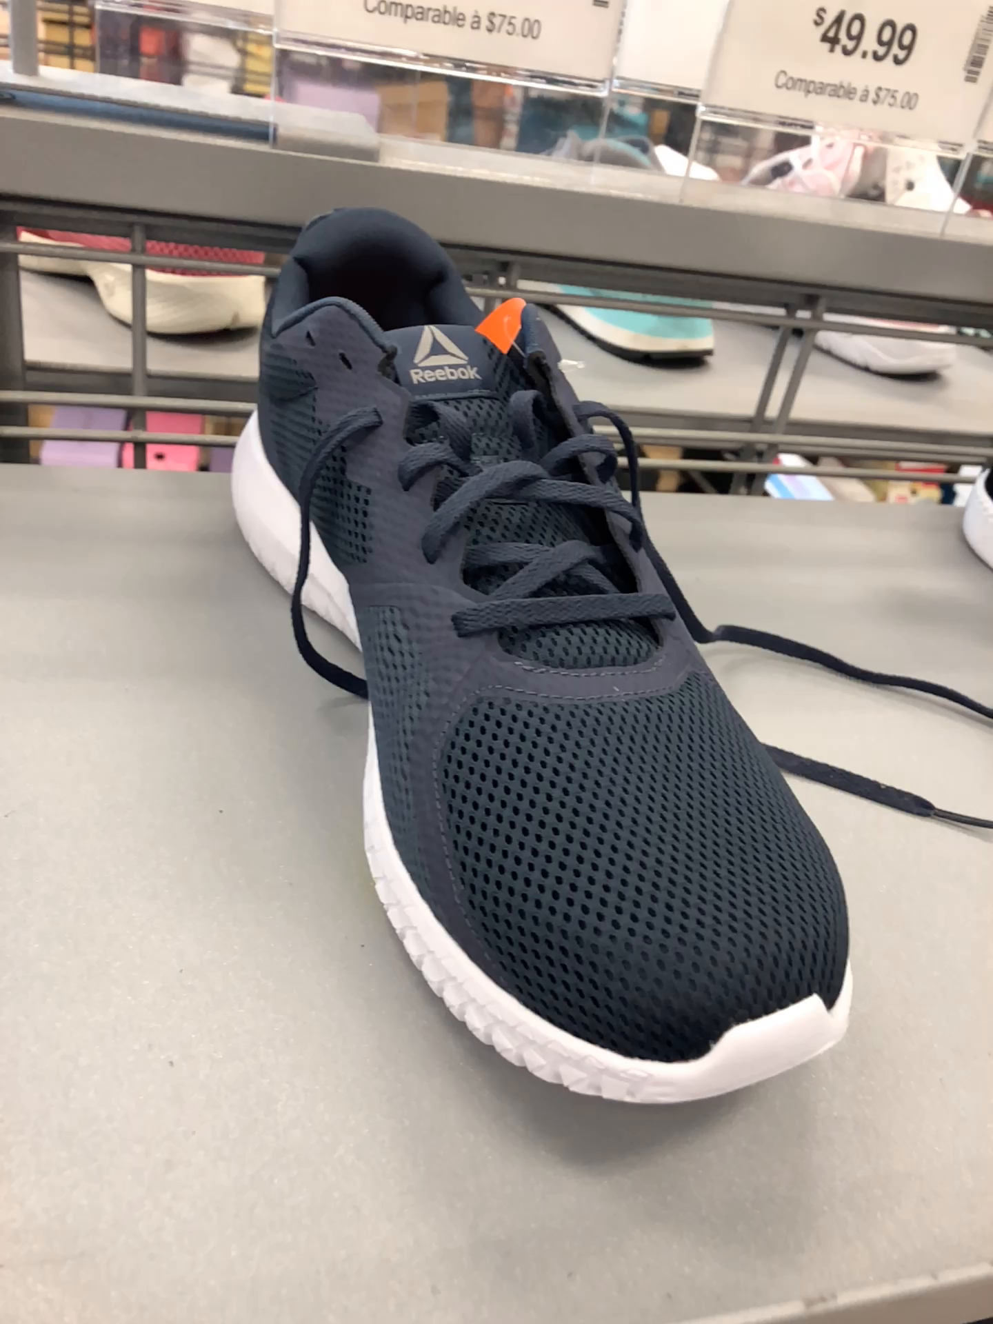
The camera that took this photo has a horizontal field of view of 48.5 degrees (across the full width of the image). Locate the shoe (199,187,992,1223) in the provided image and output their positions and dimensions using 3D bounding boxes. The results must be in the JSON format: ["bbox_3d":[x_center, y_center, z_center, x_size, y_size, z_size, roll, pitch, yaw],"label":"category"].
[{"bbox_3d":[0.006,-0.036,0.320,0.120,0.109,0.322,-5,36,-24],"label":"shoe"}]
